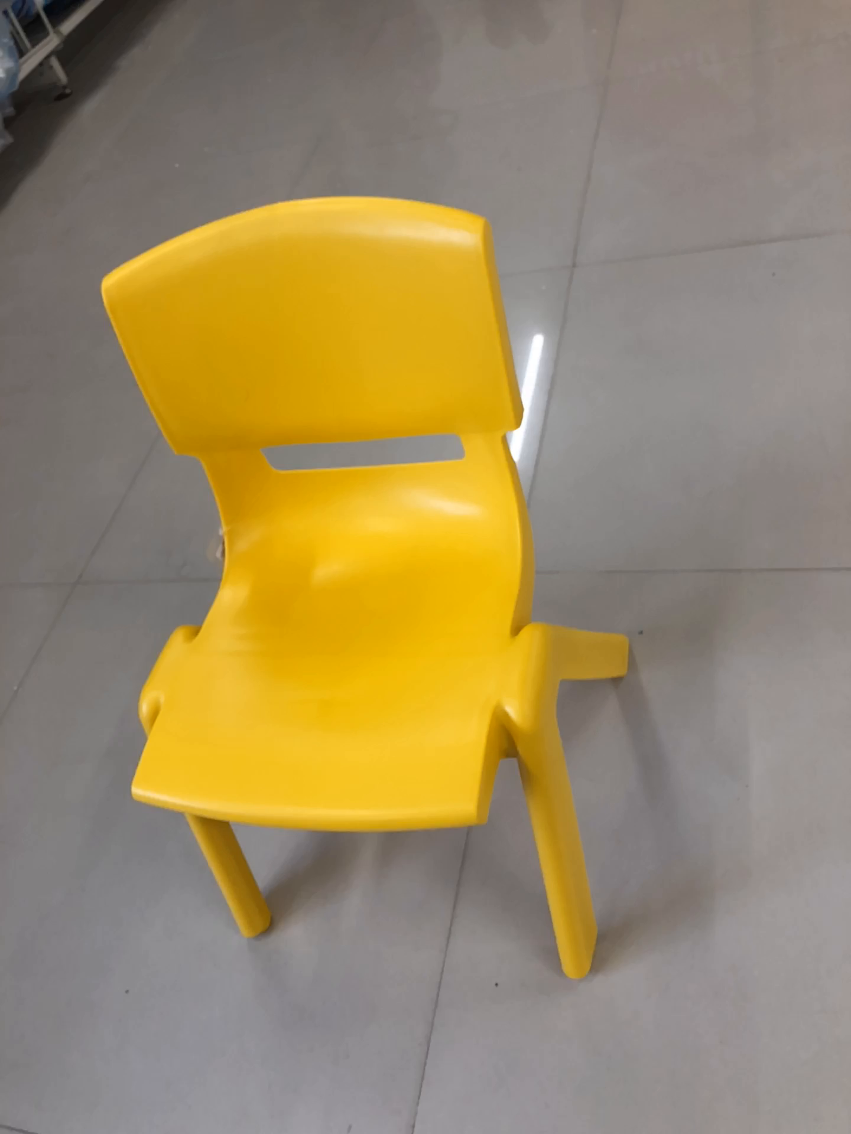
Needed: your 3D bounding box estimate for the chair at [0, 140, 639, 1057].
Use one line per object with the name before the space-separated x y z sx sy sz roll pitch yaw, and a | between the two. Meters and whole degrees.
chair | -0.061 0.028 0.674 0.360 0.398 0.453 -2 49 19
